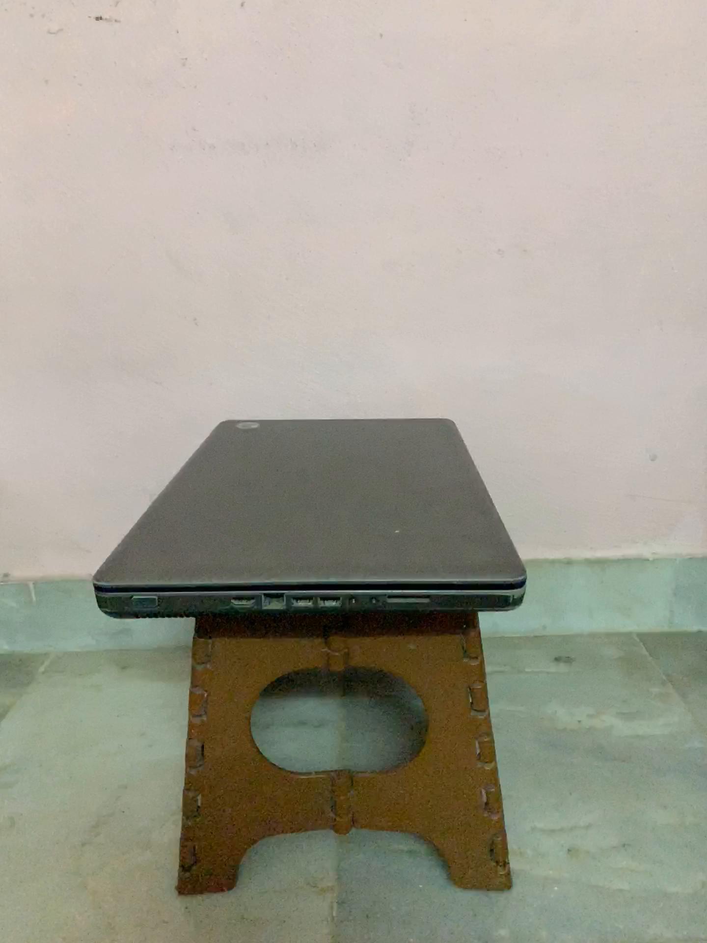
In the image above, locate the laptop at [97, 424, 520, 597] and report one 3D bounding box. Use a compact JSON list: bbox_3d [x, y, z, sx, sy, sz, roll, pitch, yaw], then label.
[{"bbox_3d":[-0.022,0.011,0.594,0.242,0.003,0.380,0,18,1],"label":"laptop"}]
